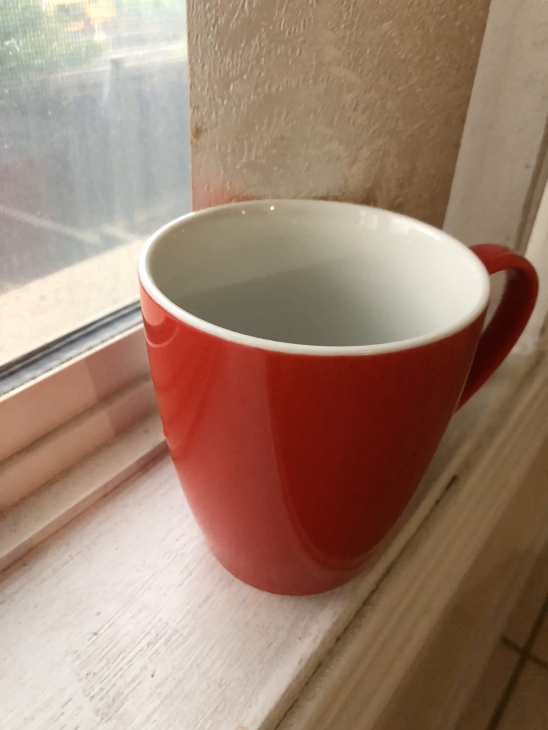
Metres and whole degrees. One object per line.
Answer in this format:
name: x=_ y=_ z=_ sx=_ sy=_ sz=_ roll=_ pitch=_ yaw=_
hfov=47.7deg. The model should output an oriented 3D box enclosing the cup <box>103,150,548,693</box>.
cup: x=0.026 y=0.002 z=0.176 sx=0.110 sy=0.090 sz=0.080 roll=-26 pitch=44 yaw=-37
